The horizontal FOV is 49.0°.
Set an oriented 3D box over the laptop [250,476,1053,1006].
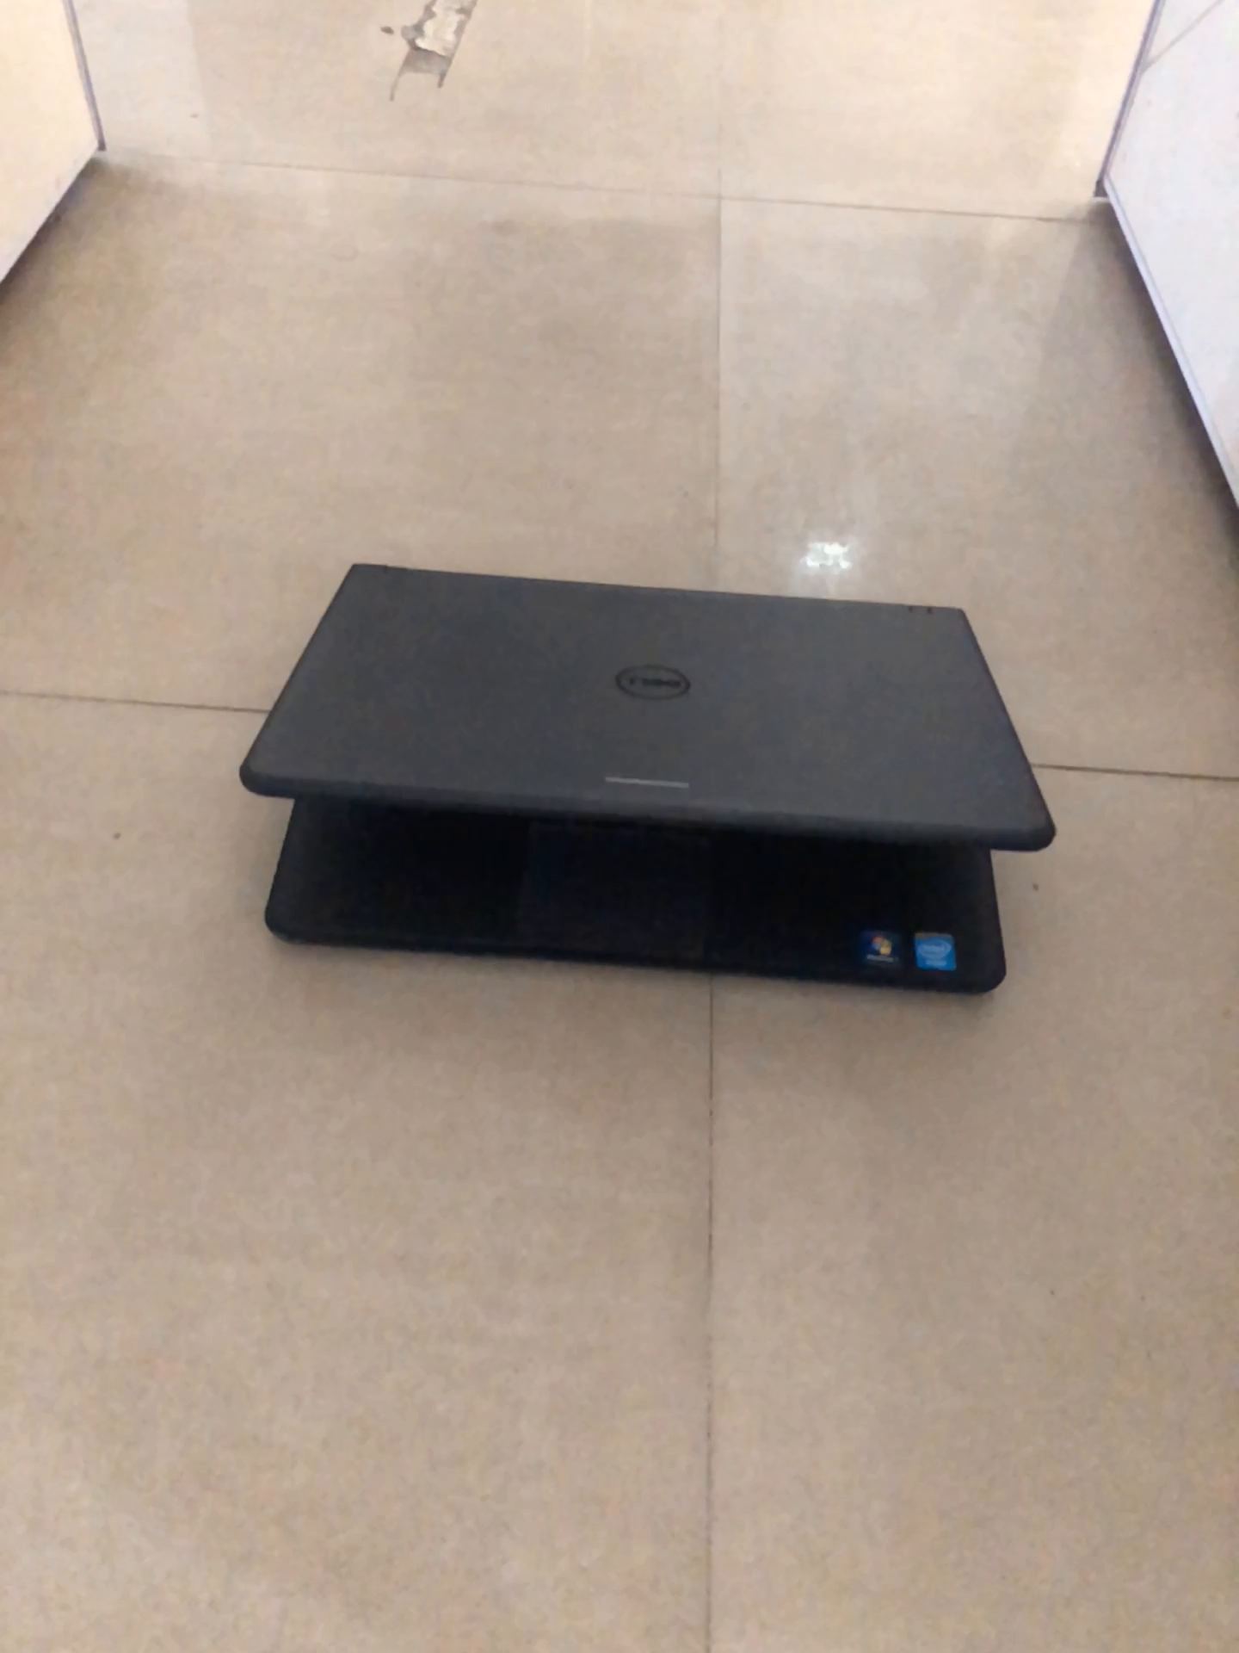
[{"bbox_3d":[0.020,-0.047,0.619,0.314,0.064,0.221,5,54,2],"label":"laptop"}]
